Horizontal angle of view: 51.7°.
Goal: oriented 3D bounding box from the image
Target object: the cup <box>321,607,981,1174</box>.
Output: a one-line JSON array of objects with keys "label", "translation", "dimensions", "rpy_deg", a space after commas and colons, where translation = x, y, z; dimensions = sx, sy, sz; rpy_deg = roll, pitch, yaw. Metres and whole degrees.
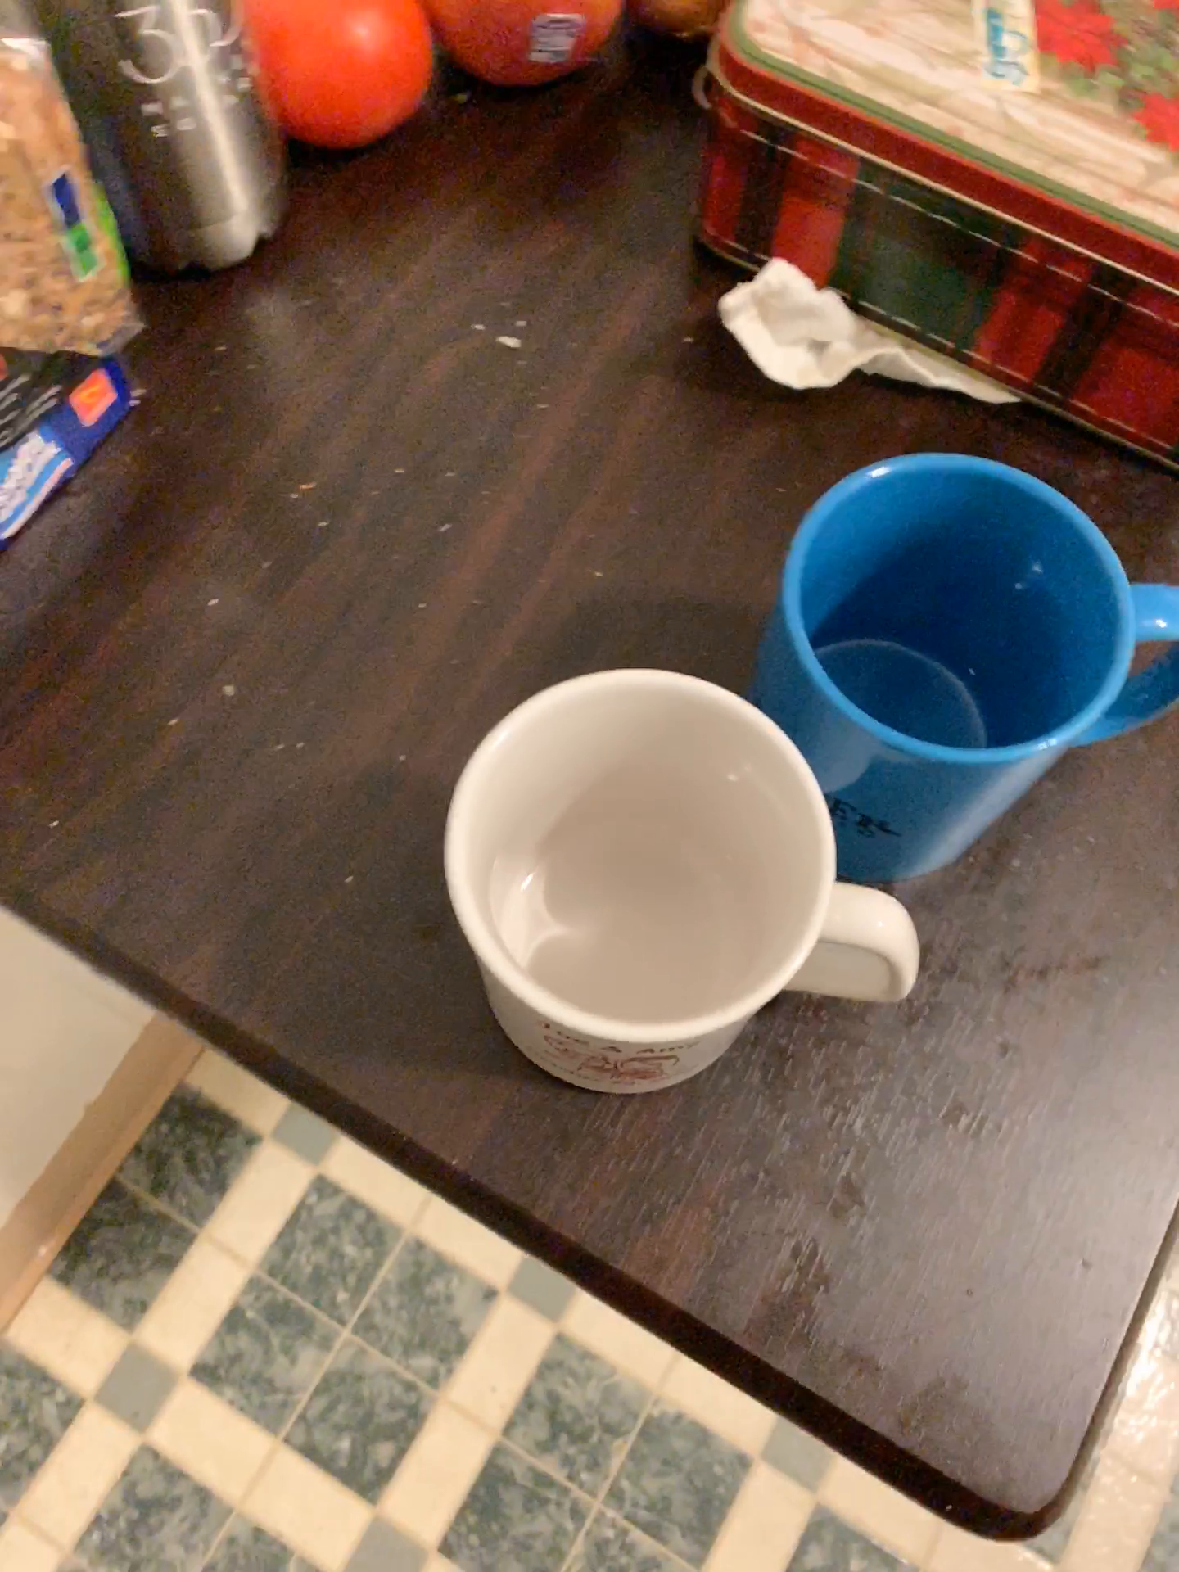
[{"label": "cup", "translation": [0.015, 0.030, 0.292], "dimensions": [0.120, 0.090, 0.090], "rpy_deg": [12, 69, 3]}]

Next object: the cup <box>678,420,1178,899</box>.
[{"label": "cup", "translation": [0.101, -0.028, 0.327], "dimensions": [0.140, 0.100, 0.090], "rpy_deg": [-1, 69, -2]}]
